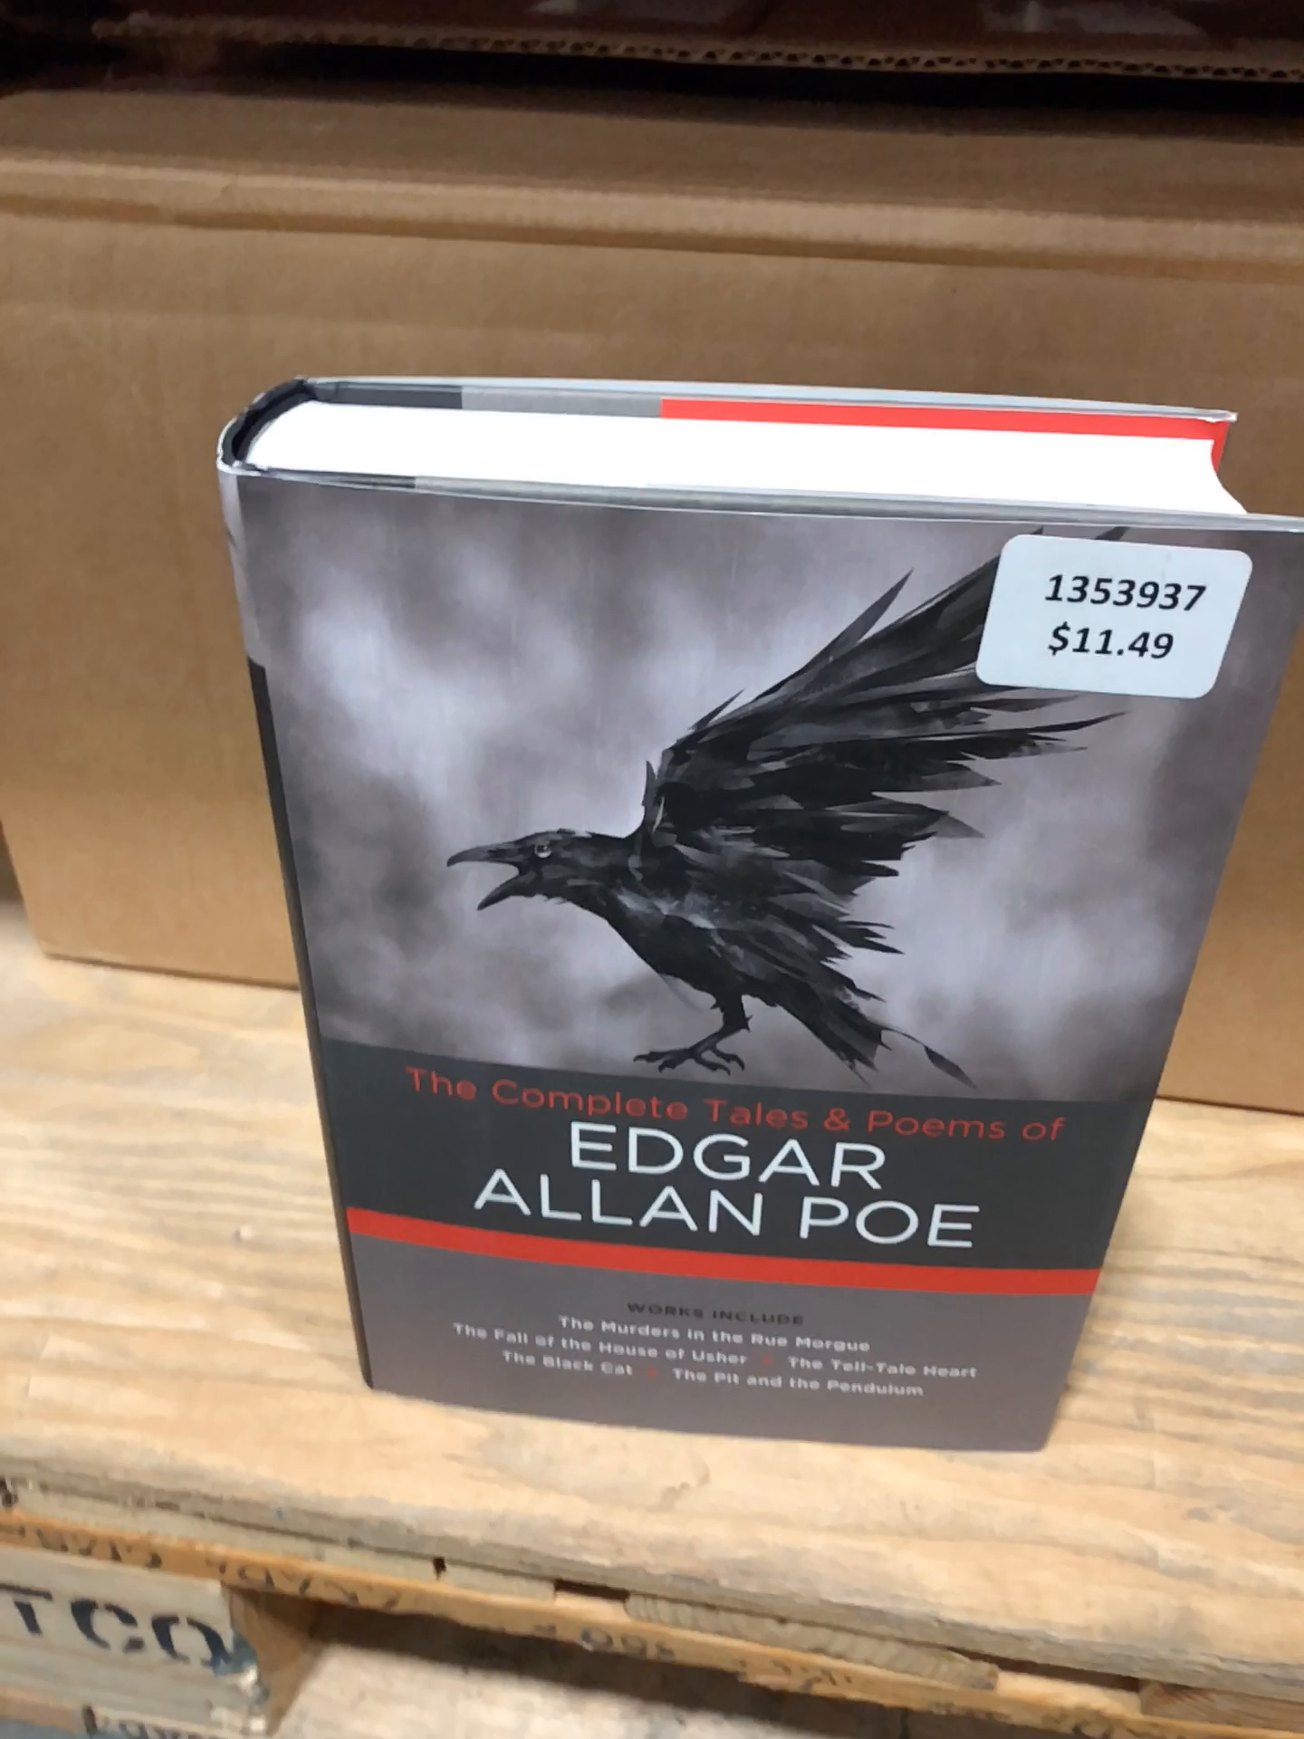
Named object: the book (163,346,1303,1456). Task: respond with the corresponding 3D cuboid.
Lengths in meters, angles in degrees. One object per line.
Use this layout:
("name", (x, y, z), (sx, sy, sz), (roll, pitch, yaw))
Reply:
("book", (0.012, 0.024, 0.307), (0.171, 0.240, 0.054), (4, 37, 3))
